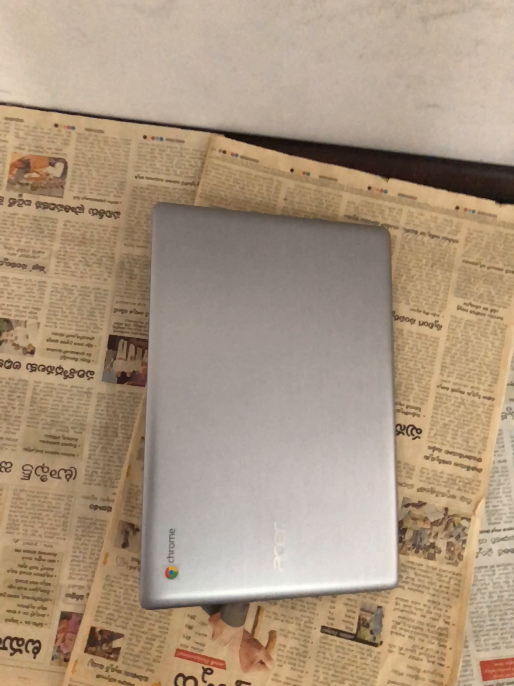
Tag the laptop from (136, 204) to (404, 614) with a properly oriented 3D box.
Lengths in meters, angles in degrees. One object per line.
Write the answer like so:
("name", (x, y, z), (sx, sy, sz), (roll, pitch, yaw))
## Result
("laptop", (0.012, 0.049, 0.499), (0.210, 0.058, 0.330), (1, 81, 0))
